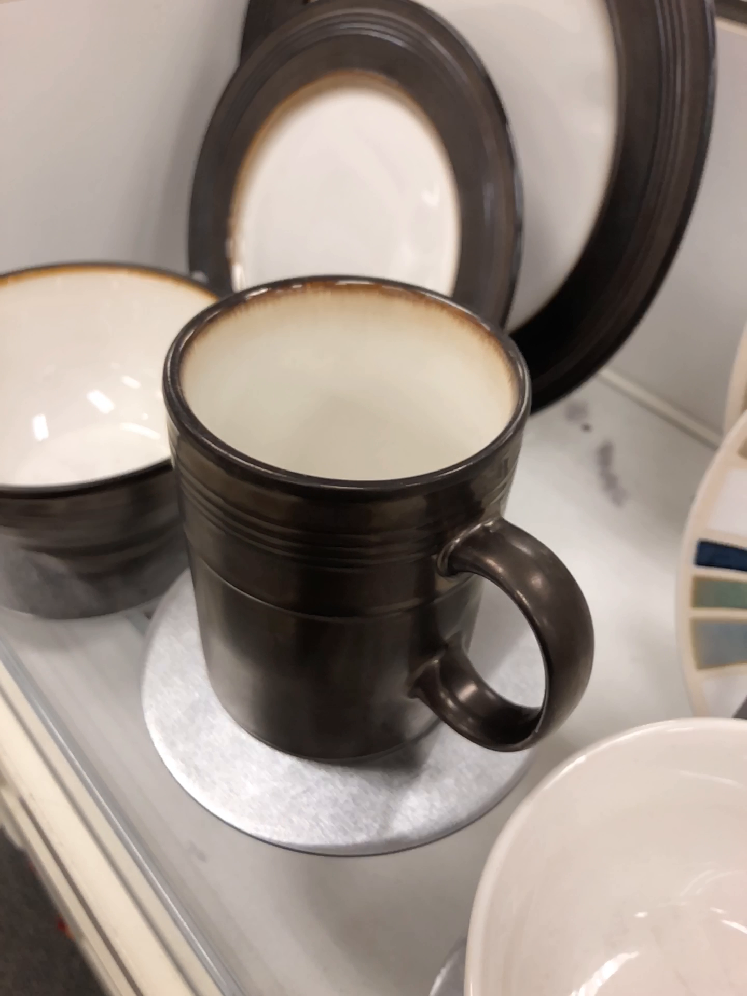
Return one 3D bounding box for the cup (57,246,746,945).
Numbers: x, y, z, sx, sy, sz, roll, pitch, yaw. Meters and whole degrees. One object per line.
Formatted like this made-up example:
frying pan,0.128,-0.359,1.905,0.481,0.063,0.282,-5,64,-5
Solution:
cup,0.002,0.018,0.213,0.119,0.102,0.083,31,49,25
